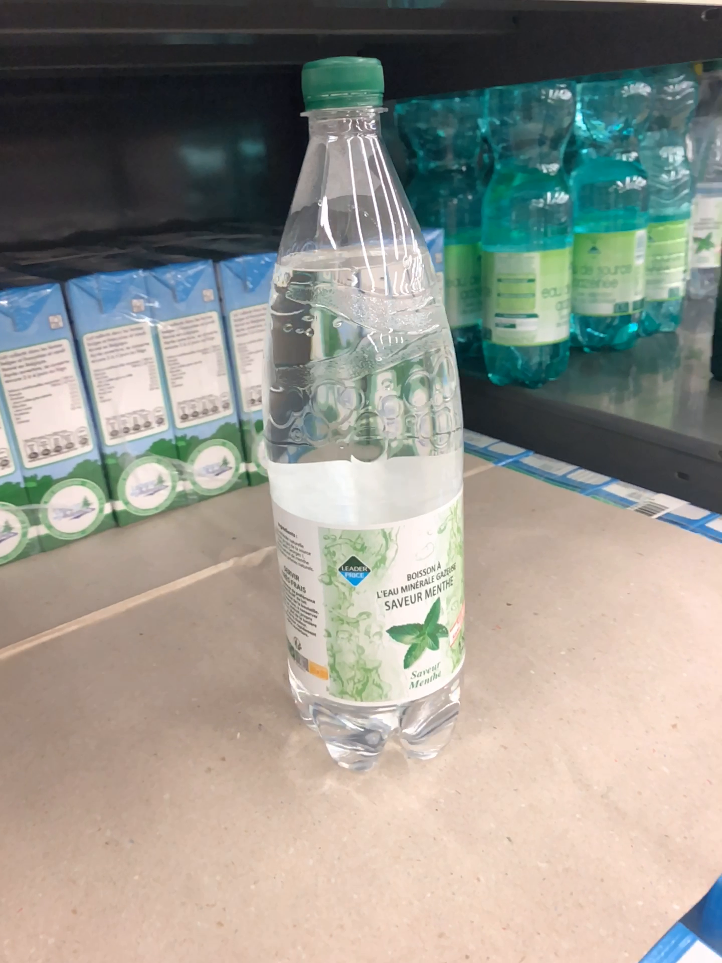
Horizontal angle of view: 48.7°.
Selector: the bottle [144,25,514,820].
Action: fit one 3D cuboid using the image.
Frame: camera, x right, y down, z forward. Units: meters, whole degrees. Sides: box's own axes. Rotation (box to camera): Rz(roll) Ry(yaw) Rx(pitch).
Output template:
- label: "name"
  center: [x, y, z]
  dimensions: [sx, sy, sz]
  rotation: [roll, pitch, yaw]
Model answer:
- label: "bottle"
  center: [-0.003, -0.019, 0.344]
  dimensions: [0.100, 0.298, 0.090]
  rotation: [-18, 26, -28]
